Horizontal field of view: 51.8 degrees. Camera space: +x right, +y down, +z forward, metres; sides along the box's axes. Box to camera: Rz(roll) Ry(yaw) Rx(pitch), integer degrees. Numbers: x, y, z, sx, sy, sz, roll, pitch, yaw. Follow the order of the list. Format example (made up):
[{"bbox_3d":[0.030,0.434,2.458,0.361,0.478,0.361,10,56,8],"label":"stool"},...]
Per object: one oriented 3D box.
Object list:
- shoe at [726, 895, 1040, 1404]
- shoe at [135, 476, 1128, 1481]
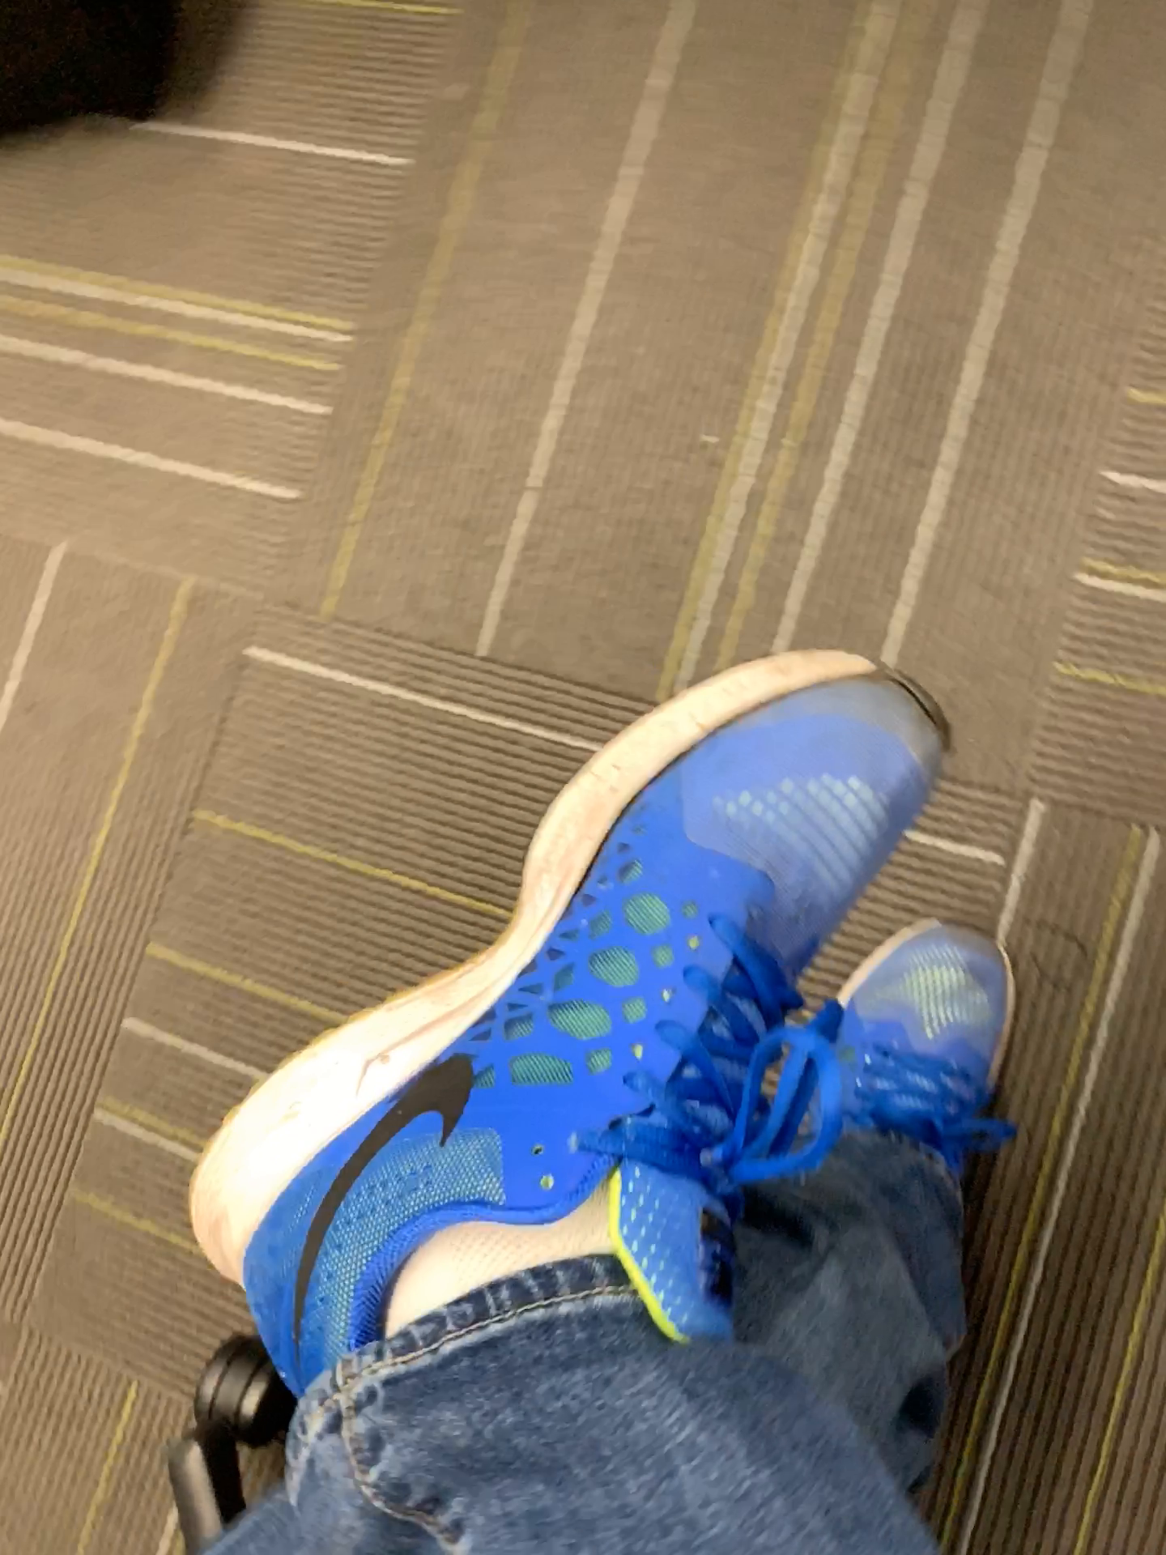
[{"bbox_3d":[0.194,0.229,0.774,0.101,0.087,0.283,19,87,17],"label":"shoe"},{"bbox_3d":[0.014,0.067,0.362,0.275,0.117,0.103,-48,48,4],"label":"shoe"}]
